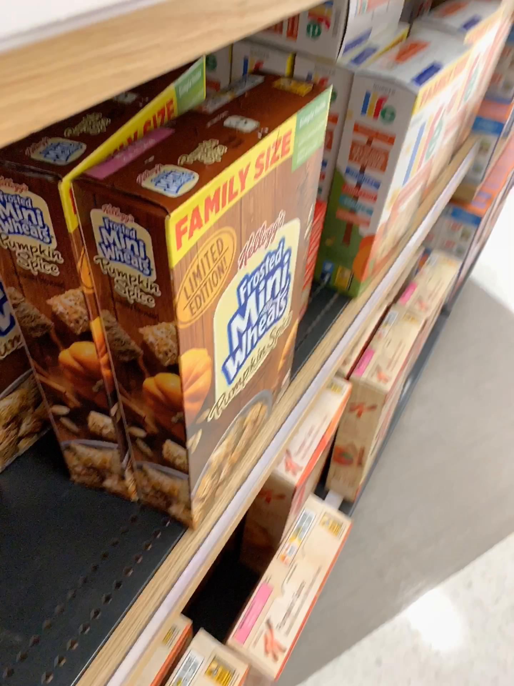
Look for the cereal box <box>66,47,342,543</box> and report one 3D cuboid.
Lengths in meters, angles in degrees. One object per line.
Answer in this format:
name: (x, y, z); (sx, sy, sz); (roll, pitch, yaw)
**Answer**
cereal box: (-0.019, -0.018, 0.390); (0.050, 0.308, 0.201); (21, 48, 17)
